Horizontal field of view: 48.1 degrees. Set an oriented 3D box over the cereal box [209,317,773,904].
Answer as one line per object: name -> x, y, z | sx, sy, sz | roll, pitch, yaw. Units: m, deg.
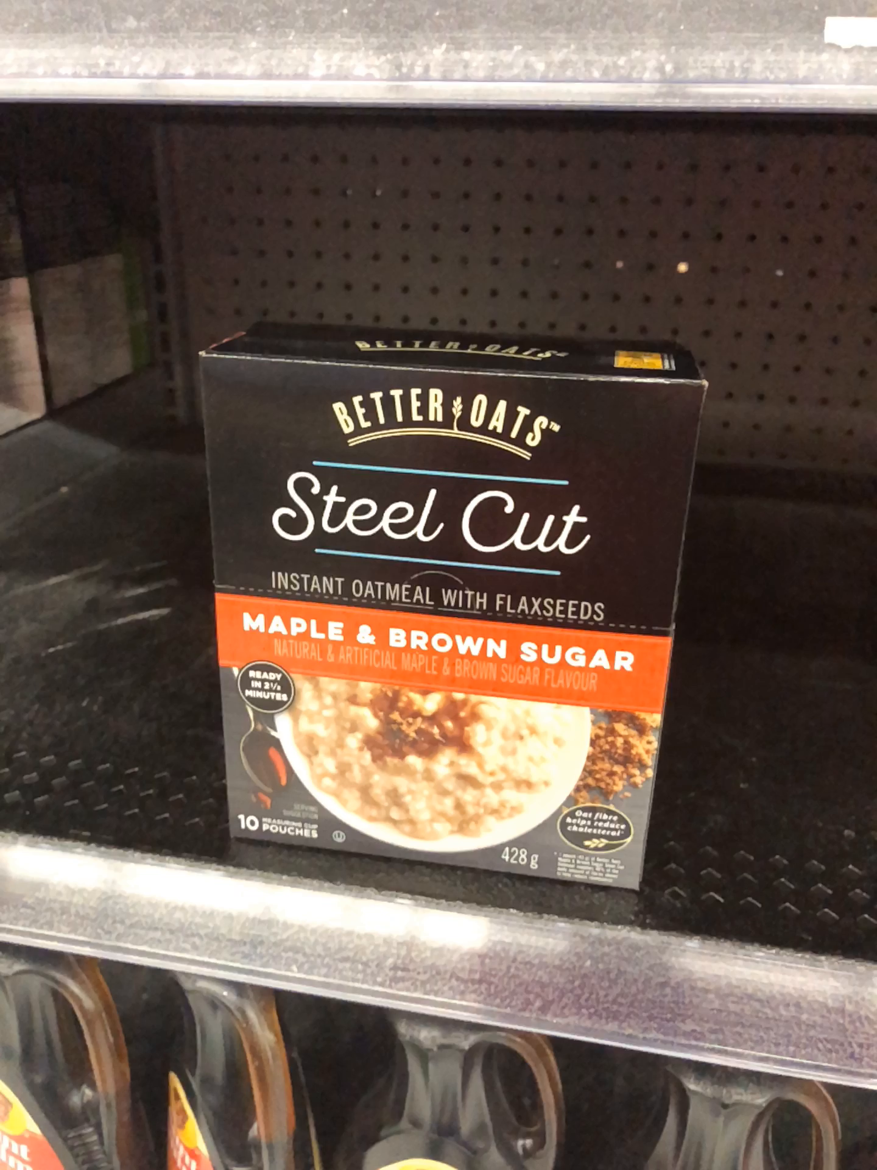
cereal box -> 0.015, 0.007, 0.345 | 0.160, 0.179, 0.070 | 5, 24, 8
